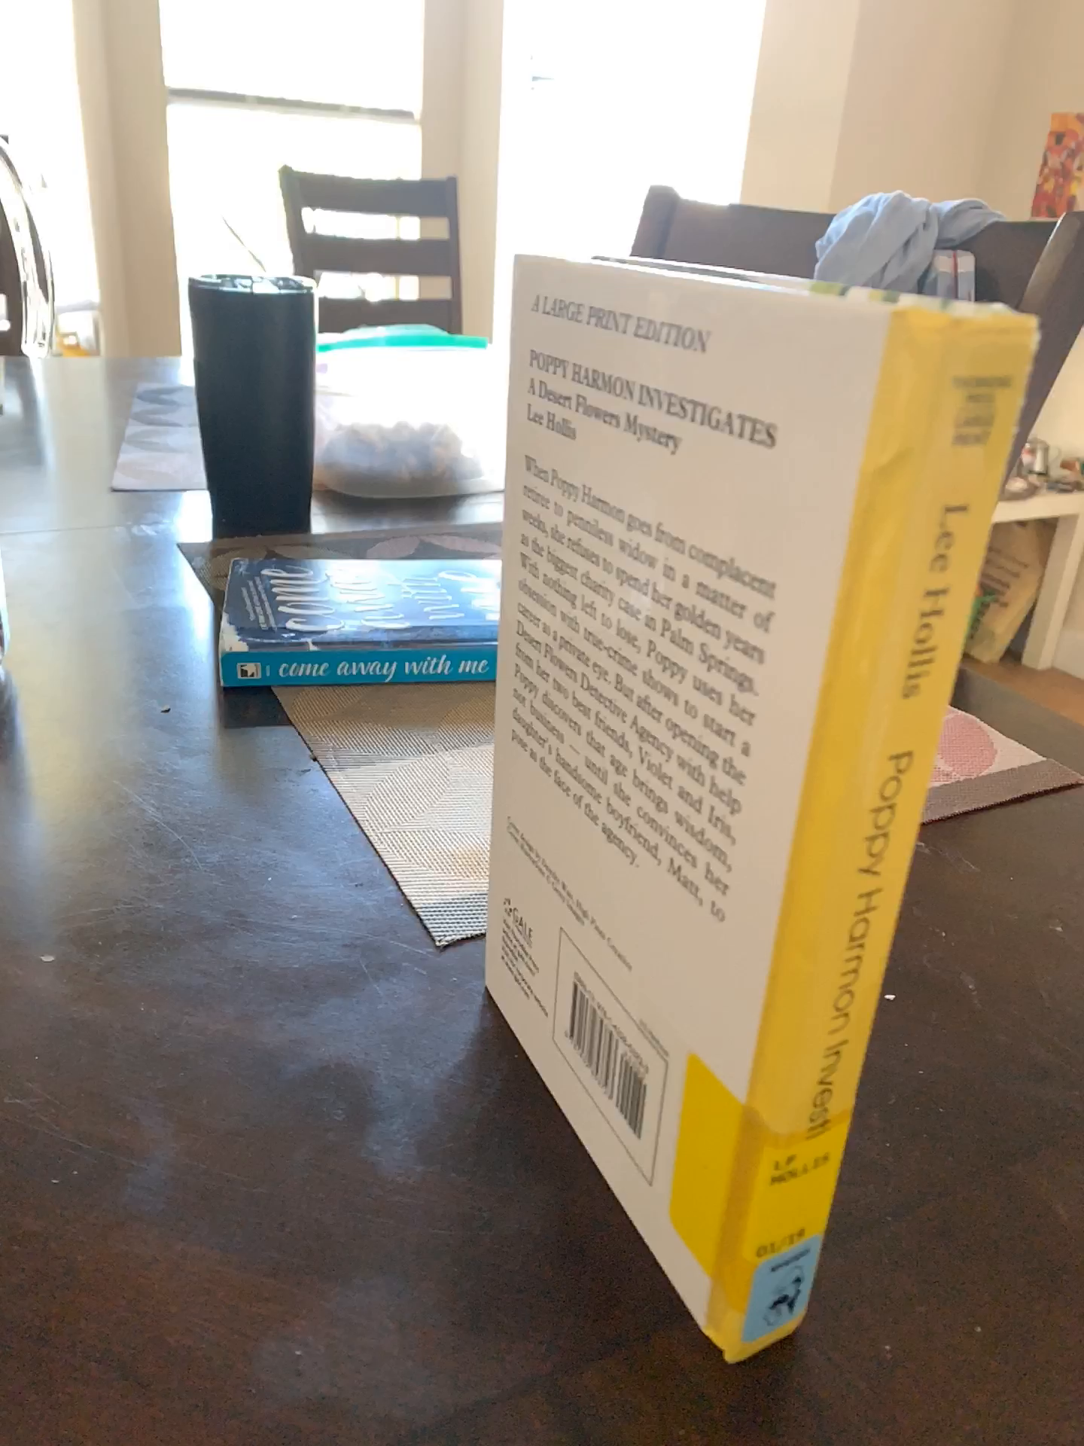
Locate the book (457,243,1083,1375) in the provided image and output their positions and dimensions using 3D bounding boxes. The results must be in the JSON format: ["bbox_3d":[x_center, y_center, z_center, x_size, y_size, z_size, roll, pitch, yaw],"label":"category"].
[{"bbox_3d":[0.029,0.010,0.267,0.040,0.219,0.154,-9,28,-25],"label":"book"}]
